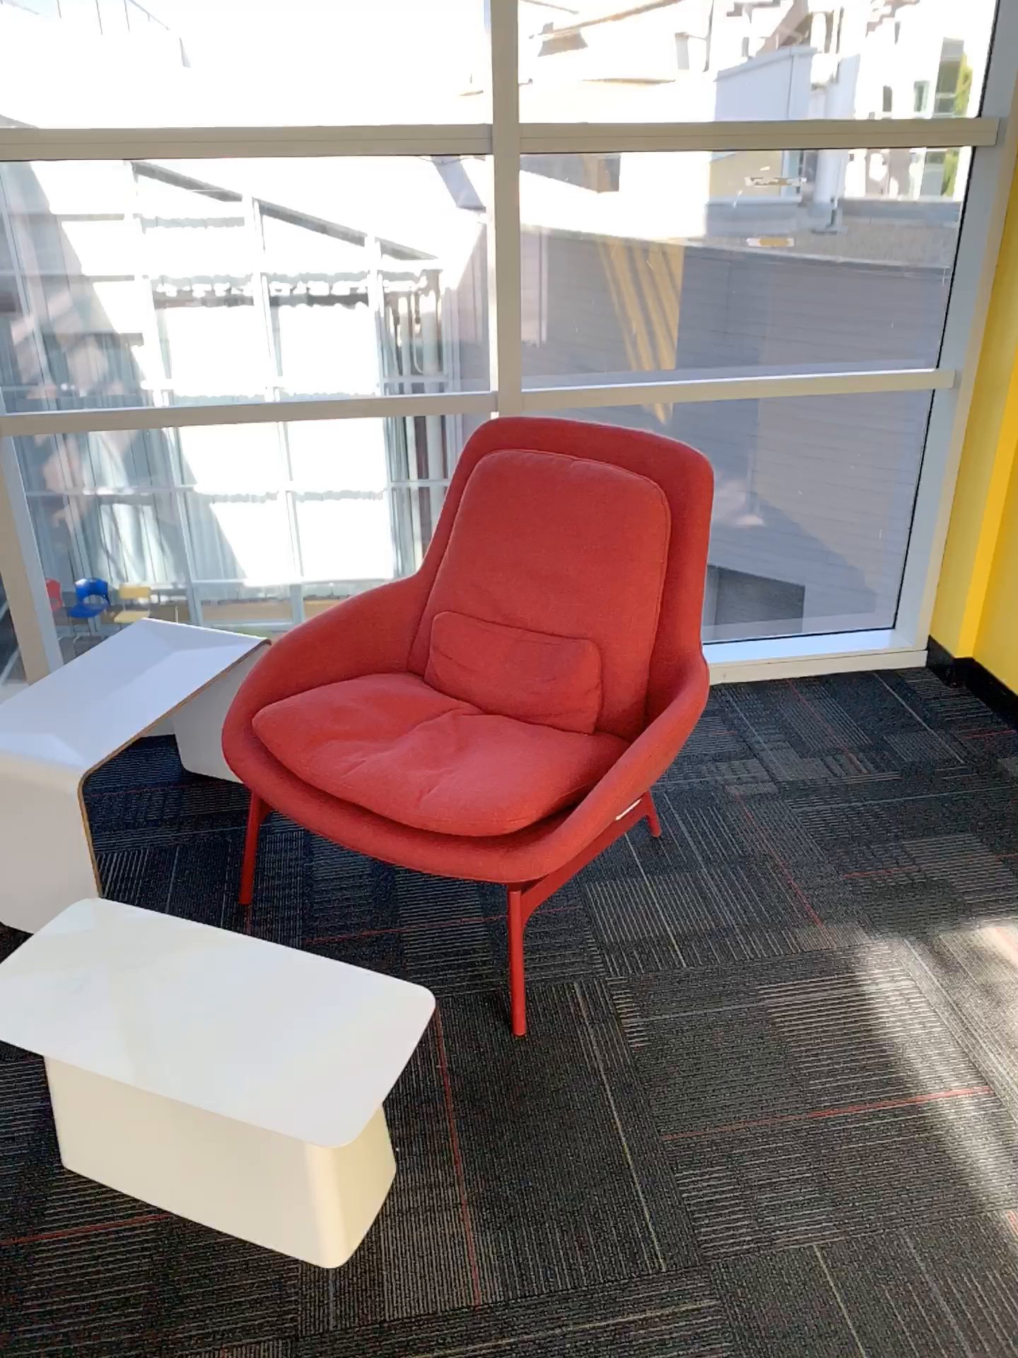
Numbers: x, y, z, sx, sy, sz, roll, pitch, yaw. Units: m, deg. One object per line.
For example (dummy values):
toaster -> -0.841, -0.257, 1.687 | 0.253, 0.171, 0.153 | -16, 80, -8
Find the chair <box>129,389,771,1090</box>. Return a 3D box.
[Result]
chair -> -0.053, 0.021, 2.199 | 0.872, 0.994, 0.923 | 13, 31, 25
